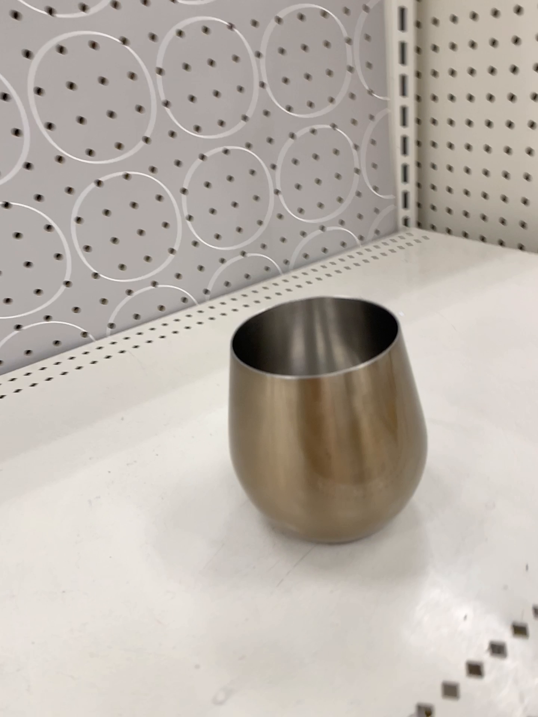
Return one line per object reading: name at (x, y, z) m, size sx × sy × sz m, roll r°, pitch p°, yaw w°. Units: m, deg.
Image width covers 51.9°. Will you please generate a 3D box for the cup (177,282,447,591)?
cup at (0.021, 0.029, 0.258) m, size 0.082 × 0.090 × 0.084 m, roll -7°, pitch 29°, yaw 4°
